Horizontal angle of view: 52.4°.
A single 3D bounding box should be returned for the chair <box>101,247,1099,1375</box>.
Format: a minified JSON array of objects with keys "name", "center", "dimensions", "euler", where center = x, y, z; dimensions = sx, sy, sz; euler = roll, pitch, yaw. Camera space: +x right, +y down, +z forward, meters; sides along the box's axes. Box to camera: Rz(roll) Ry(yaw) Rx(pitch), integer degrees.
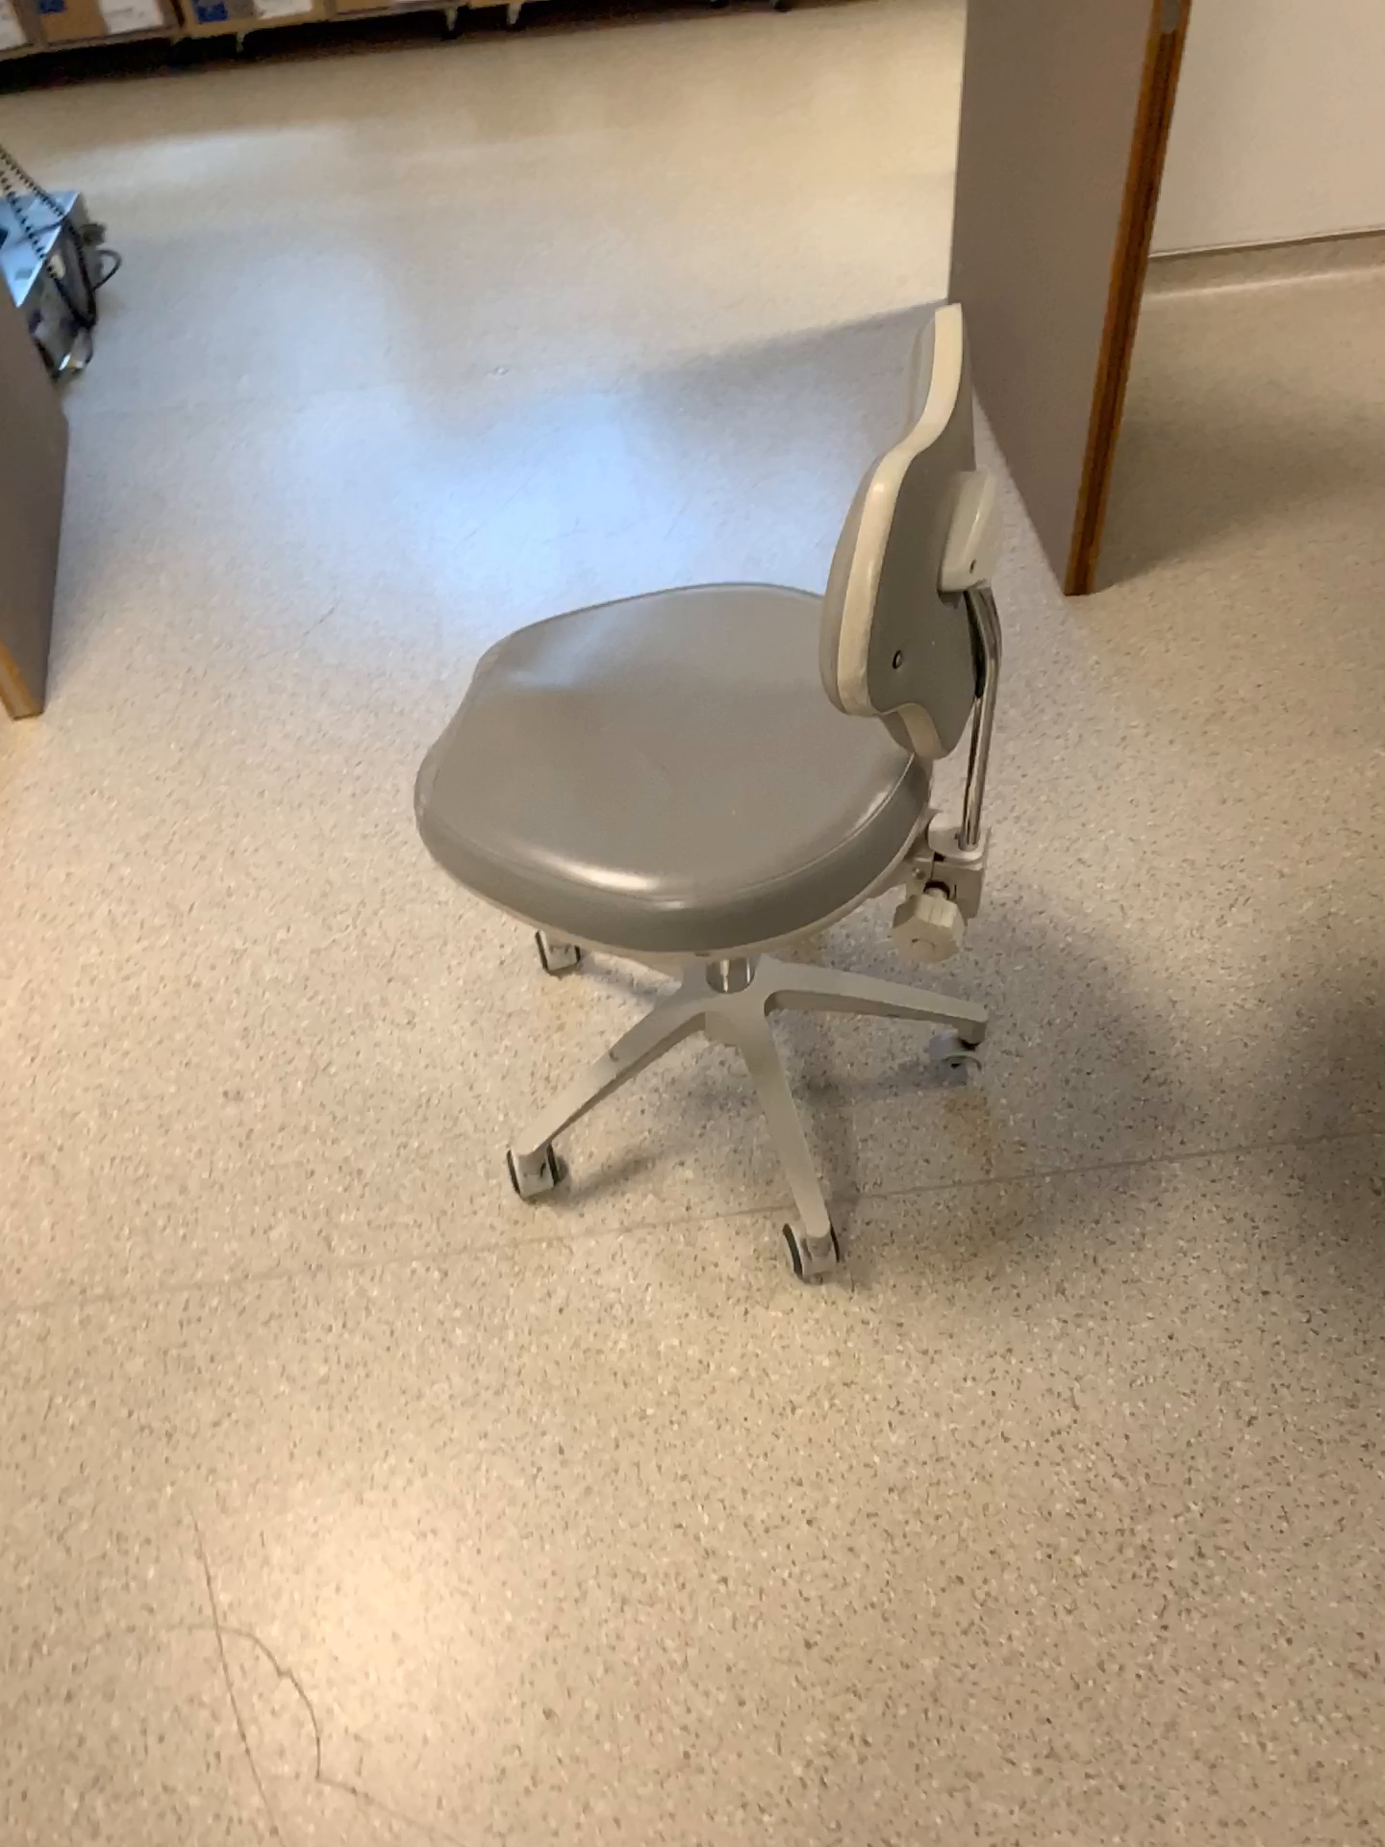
[{"name":"chair","center":[0.005,-0.089,1.350],"dimensions":[0.601,0.823,0.605],"euler":[8,49,12]}]
